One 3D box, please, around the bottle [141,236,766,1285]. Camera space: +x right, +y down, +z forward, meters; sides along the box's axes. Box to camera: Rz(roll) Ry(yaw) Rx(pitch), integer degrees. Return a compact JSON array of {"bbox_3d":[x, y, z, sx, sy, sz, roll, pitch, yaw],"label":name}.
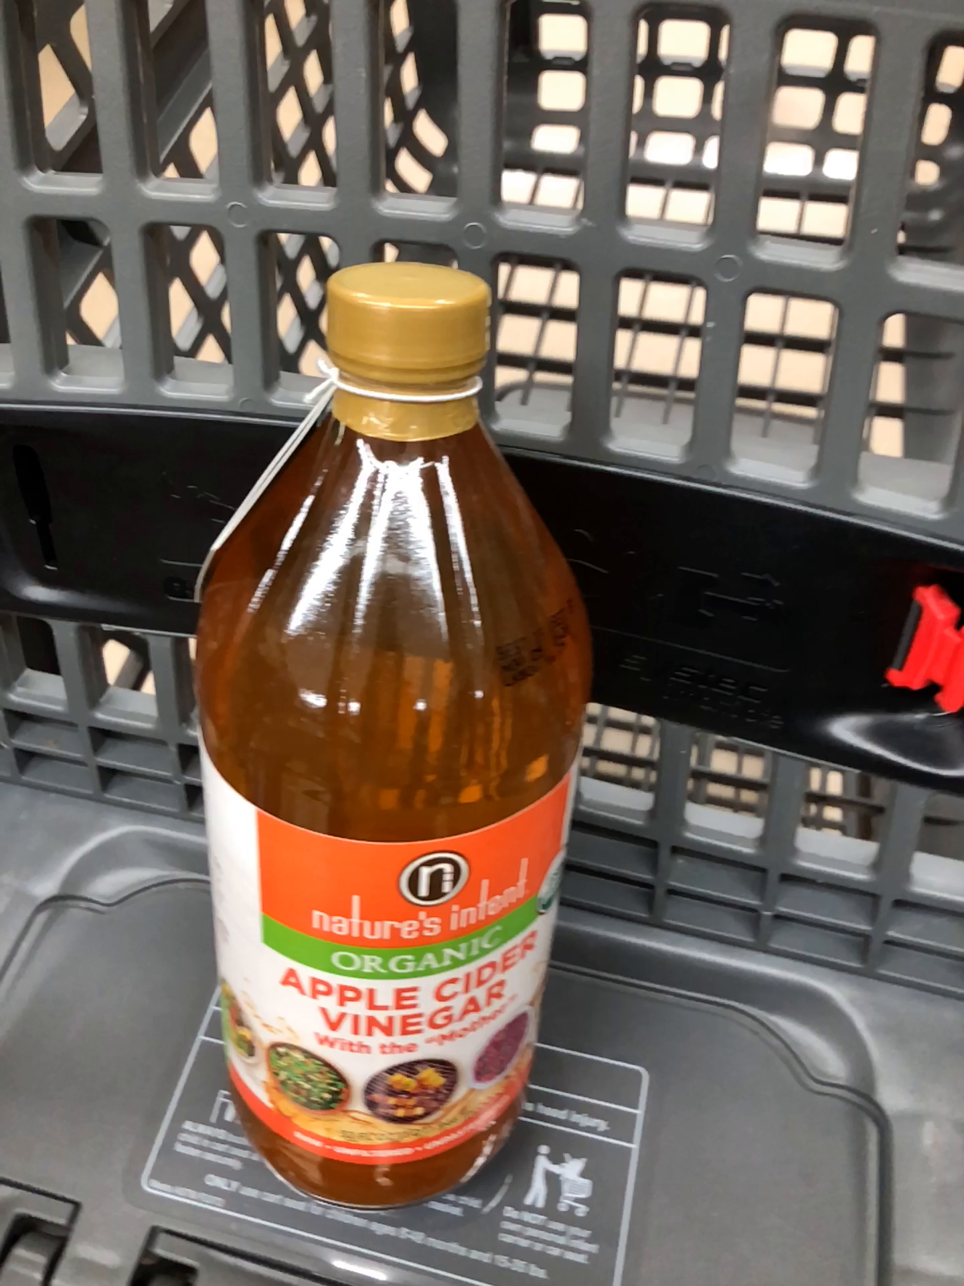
[{"bbox_3d":[-0.022,0.036,0.264,0.100,0.240,0.090,-4,31,-16],"label":"bottle"}]
